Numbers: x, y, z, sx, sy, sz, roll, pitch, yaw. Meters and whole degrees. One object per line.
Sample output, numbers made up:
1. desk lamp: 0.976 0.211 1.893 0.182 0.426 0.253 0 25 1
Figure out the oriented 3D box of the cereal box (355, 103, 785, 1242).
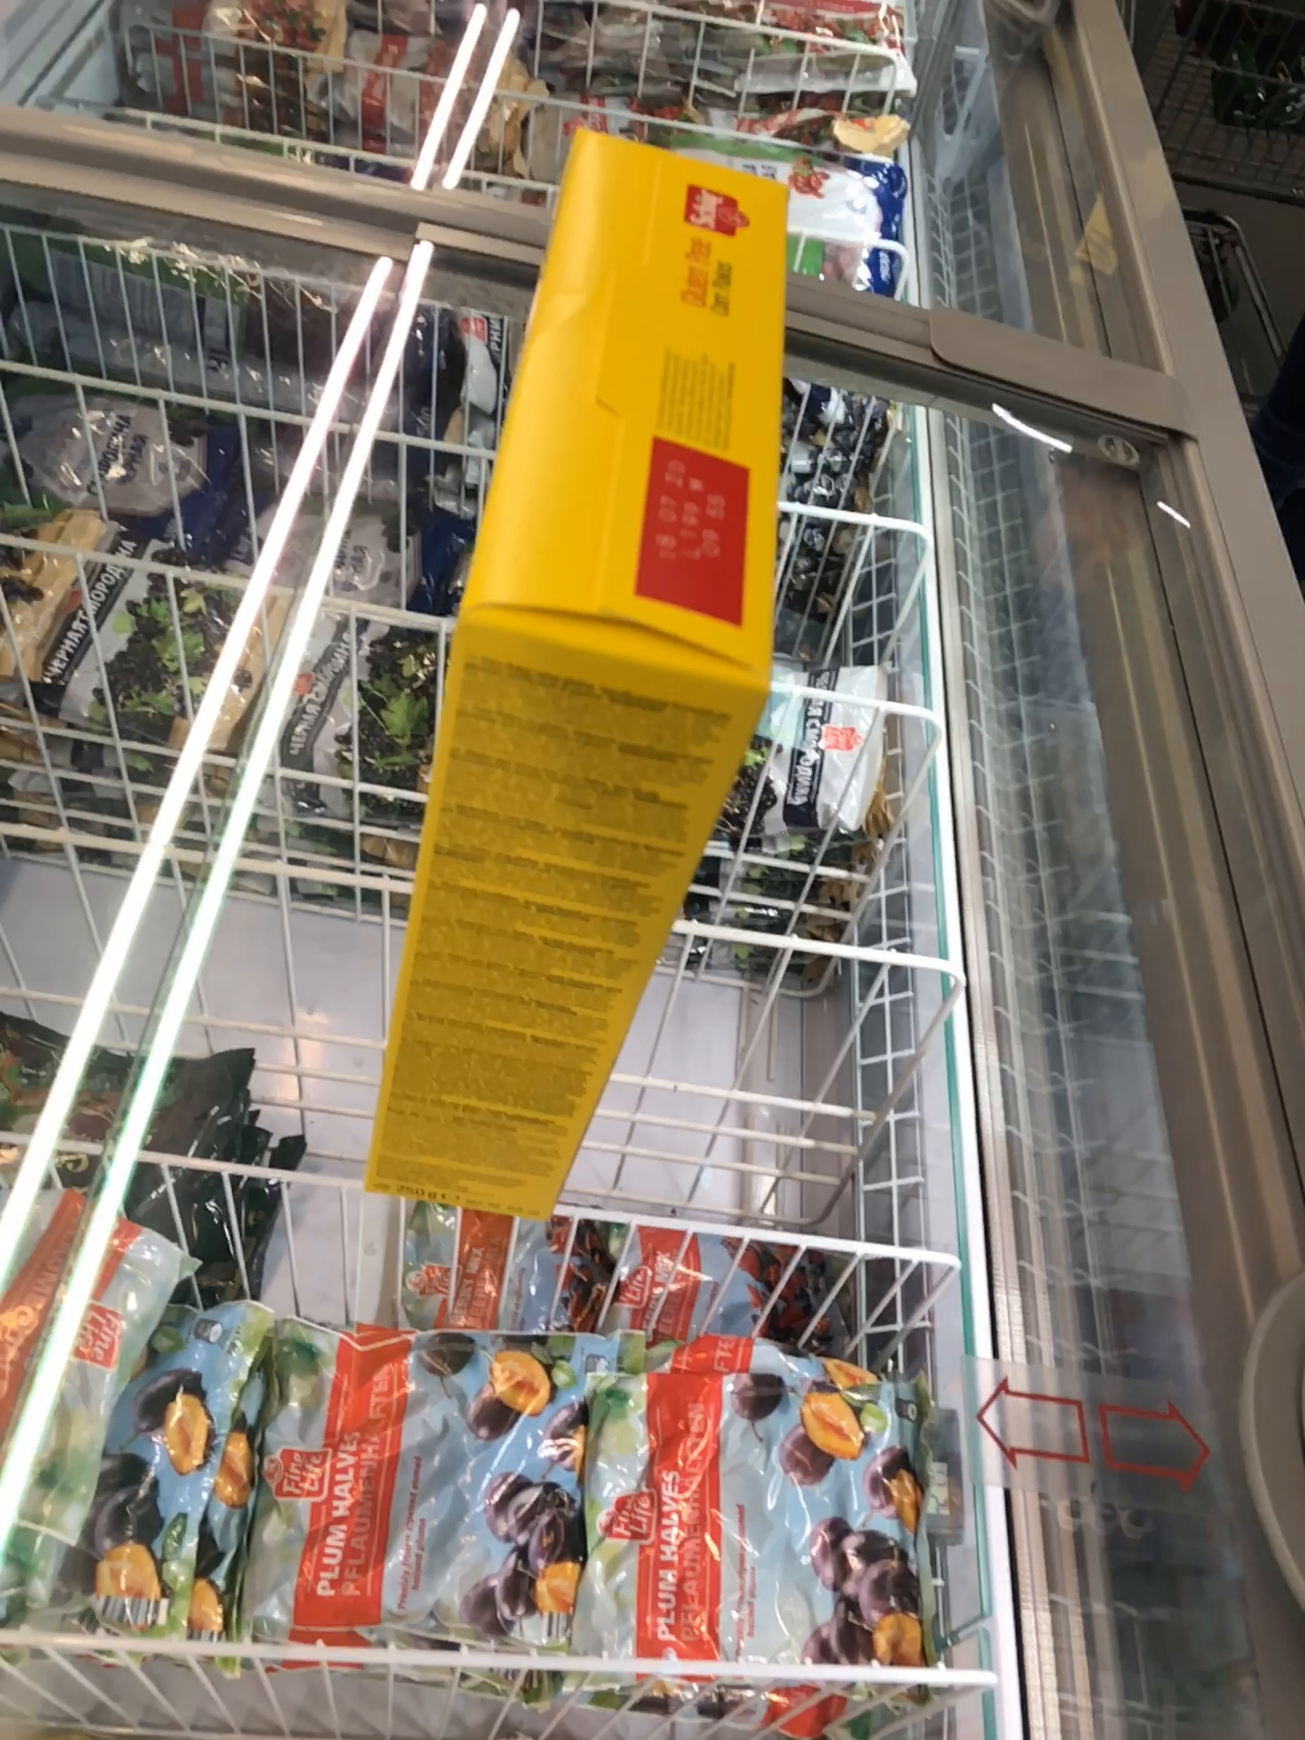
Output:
1. cereal box: -0.027 -0.042 0.400 0.060 0.238 0.201 11 51 -7
